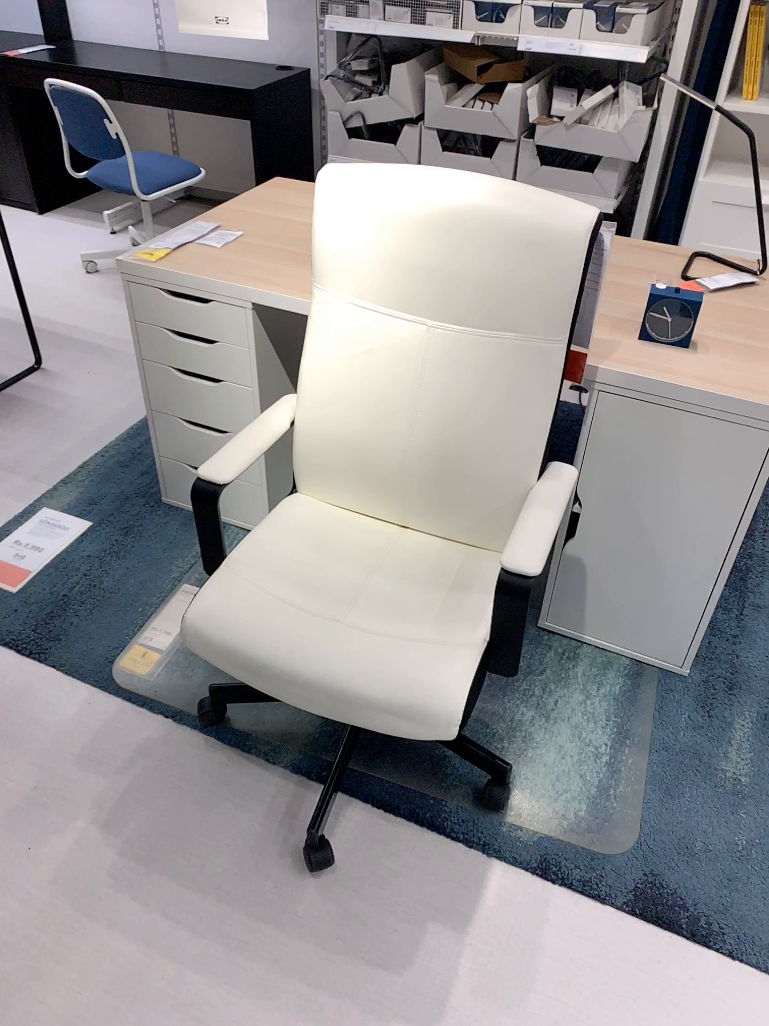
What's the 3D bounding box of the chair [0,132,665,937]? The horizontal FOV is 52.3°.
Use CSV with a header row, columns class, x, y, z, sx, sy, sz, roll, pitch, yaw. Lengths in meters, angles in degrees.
class,x,y,z,sx,sy,sz,roll,pitch,yaw
chair,-0.056,0.004,1.298,0.691,0.956,0.702,16,41,18
